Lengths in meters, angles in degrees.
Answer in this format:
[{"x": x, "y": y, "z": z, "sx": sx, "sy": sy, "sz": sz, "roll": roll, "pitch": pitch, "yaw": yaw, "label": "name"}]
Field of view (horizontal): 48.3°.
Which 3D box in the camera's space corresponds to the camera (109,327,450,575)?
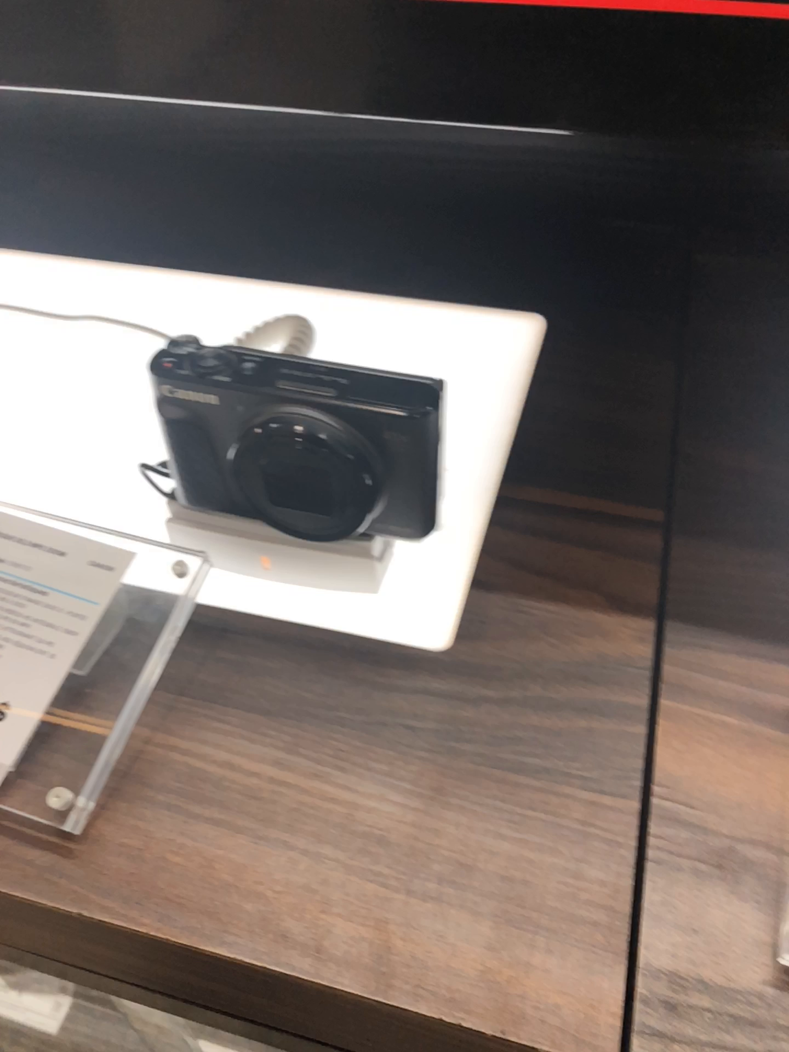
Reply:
[{"x": -0.039, "y": -0.028, "z": 0.332, "sx": 0.114, "sy": 0.069, "sz": 0.035, "roll": 10, "pitch": 45, "yaw": 13, "label": "camera"}]
